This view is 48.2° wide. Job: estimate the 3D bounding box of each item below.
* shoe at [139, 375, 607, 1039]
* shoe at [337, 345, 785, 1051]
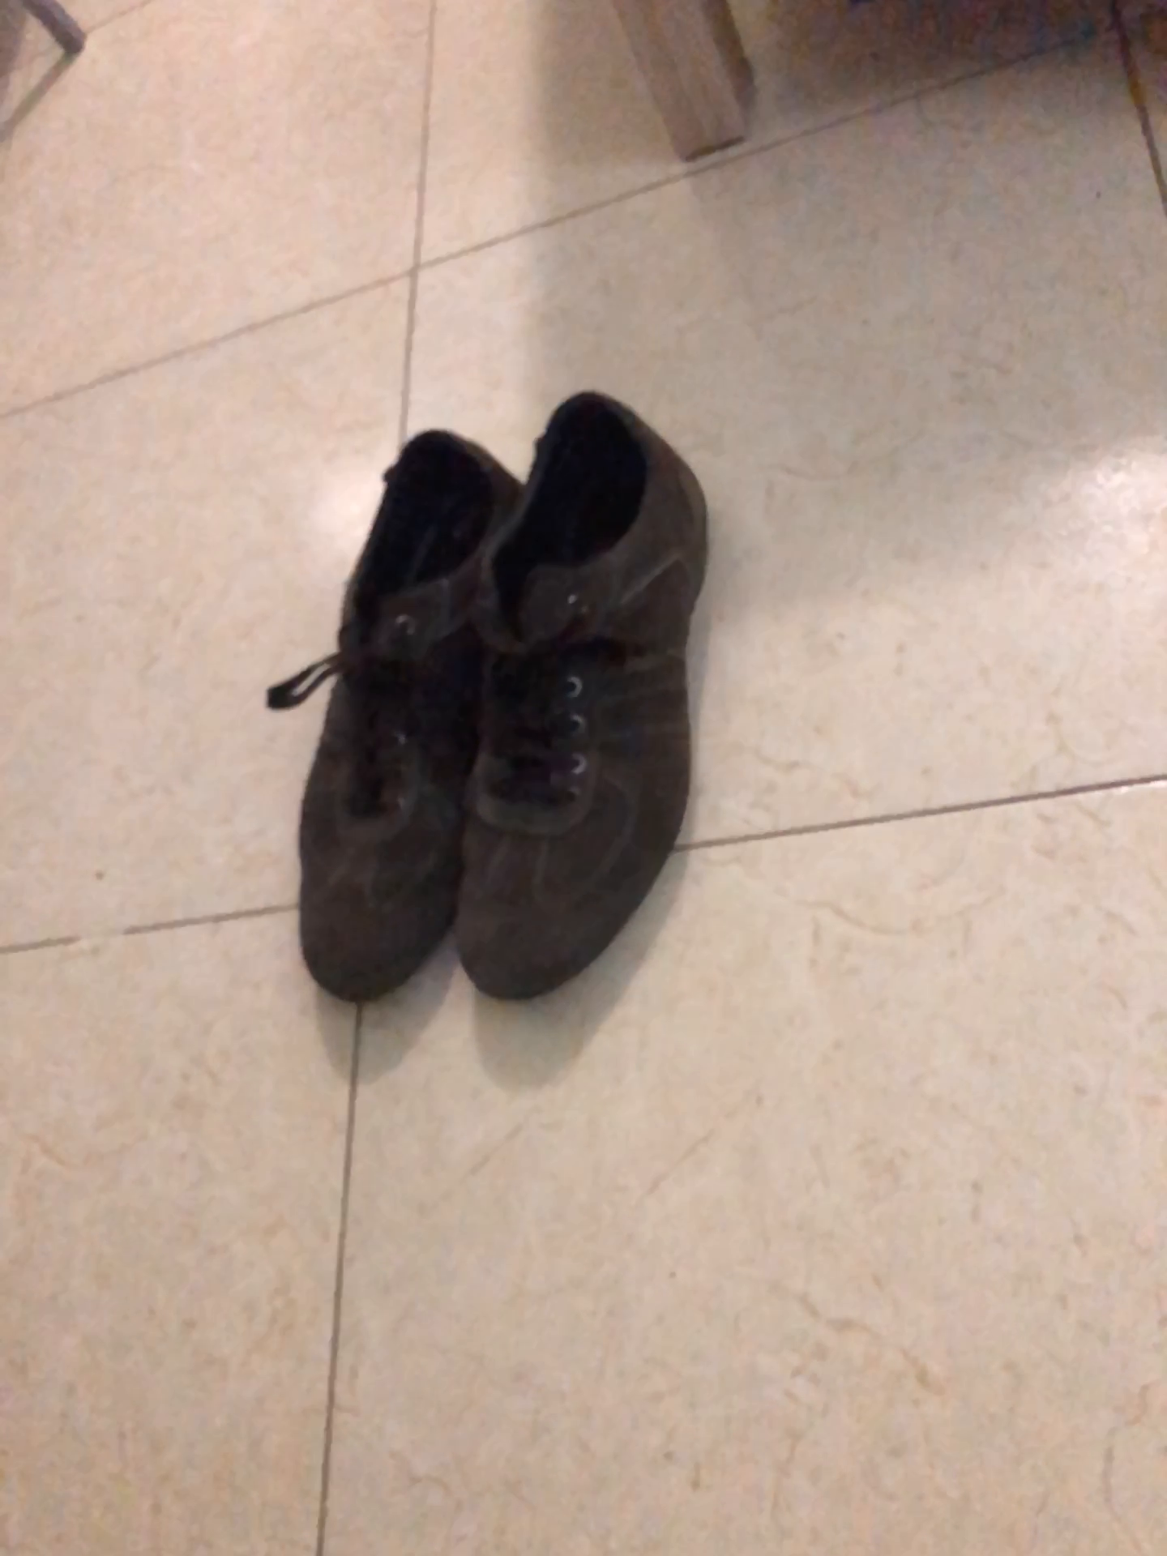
[{"bbox_3d":[-0.093,-0.037,0.653,0.120,0.110,0.300,2,68,27],"label":"shoe"},{"bbox_3d":[0.001,-0.040,0.614,0.110,0.110,0.300,4,69,27],"label":"shoe"}]
